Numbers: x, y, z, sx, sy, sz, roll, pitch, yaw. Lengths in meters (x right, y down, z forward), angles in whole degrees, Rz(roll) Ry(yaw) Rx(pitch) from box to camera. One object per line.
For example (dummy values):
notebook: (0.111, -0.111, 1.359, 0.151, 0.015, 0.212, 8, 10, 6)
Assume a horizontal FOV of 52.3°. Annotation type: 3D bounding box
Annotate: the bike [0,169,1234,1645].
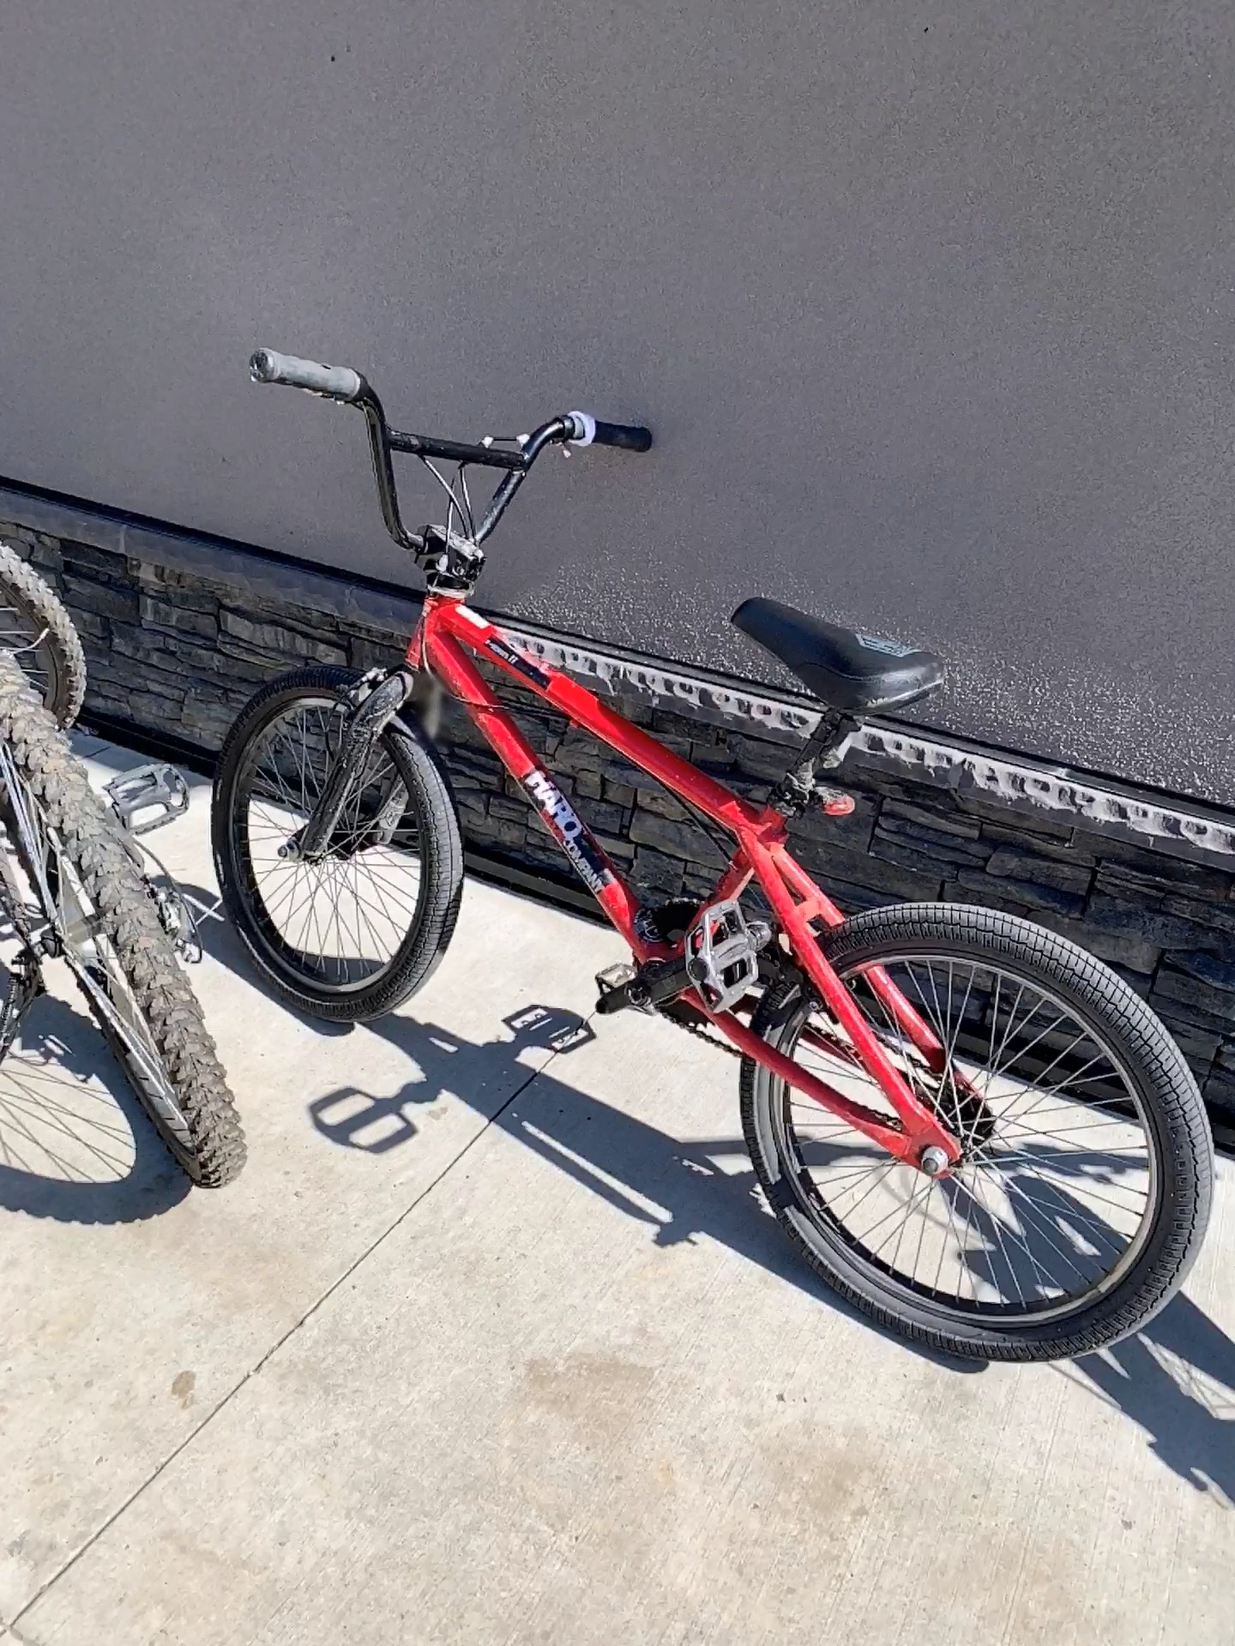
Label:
bike: (0.074, -0.089, 1.447, 1.313, 0.908, 0.776, 25, 32, 26)
